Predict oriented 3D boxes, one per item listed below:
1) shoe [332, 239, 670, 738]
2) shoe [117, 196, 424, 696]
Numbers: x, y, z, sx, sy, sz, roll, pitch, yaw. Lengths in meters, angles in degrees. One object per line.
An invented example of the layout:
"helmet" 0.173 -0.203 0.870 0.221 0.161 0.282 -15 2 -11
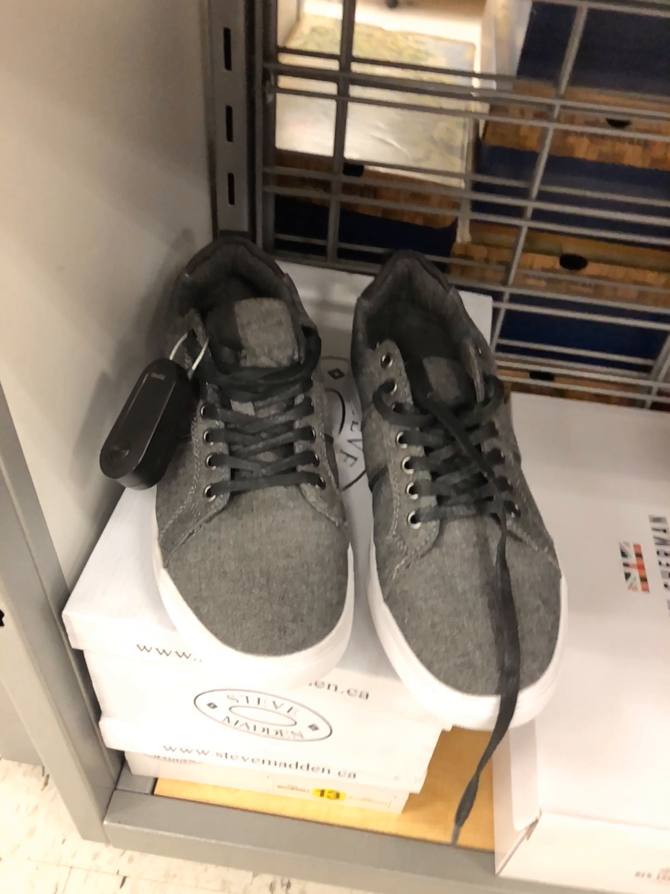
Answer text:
"shoe" 0.064 0.005 0.397 0.100 0.106 0.255 -1 46 -7
"shoe" -0.045 -0.020 0.390 0.110 0.106 0.255 -3 47 -9
